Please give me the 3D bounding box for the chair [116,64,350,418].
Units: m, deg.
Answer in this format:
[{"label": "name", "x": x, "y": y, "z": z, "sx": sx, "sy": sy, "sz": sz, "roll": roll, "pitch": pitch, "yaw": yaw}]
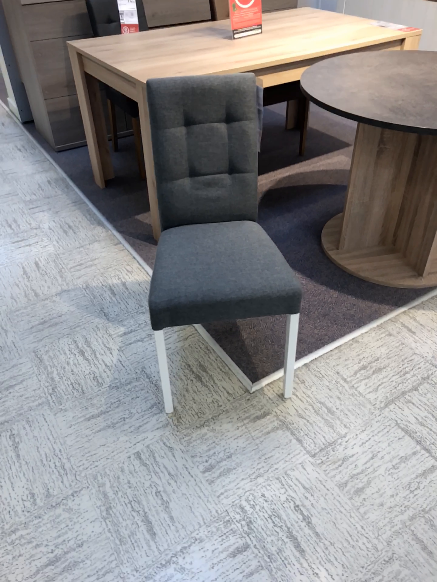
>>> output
[{"label": "chair", "x": 0.007, "y": -0.145, "z": 1.410, "sx": 0.460, "sy": 0.825, "sz": 0.583, "roll": -5, "pitch": 39, "yaw": -5}]
